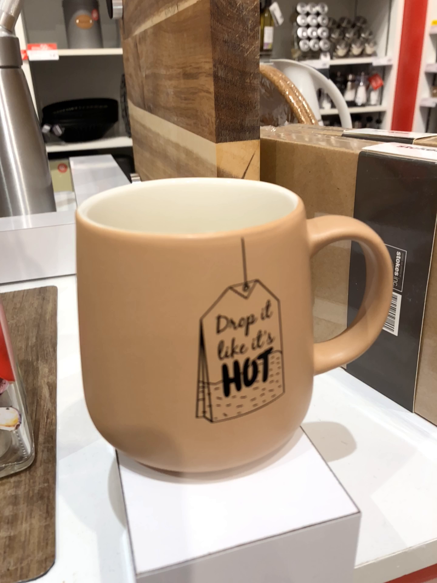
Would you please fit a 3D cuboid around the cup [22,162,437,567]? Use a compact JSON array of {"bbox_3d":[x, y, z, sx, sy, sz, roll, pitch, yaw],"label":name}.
[{"bbox_3d":[0.005,0.007,0.172,0.110,0.080,0.090,-16,28,-28],"label":"cup"}]
